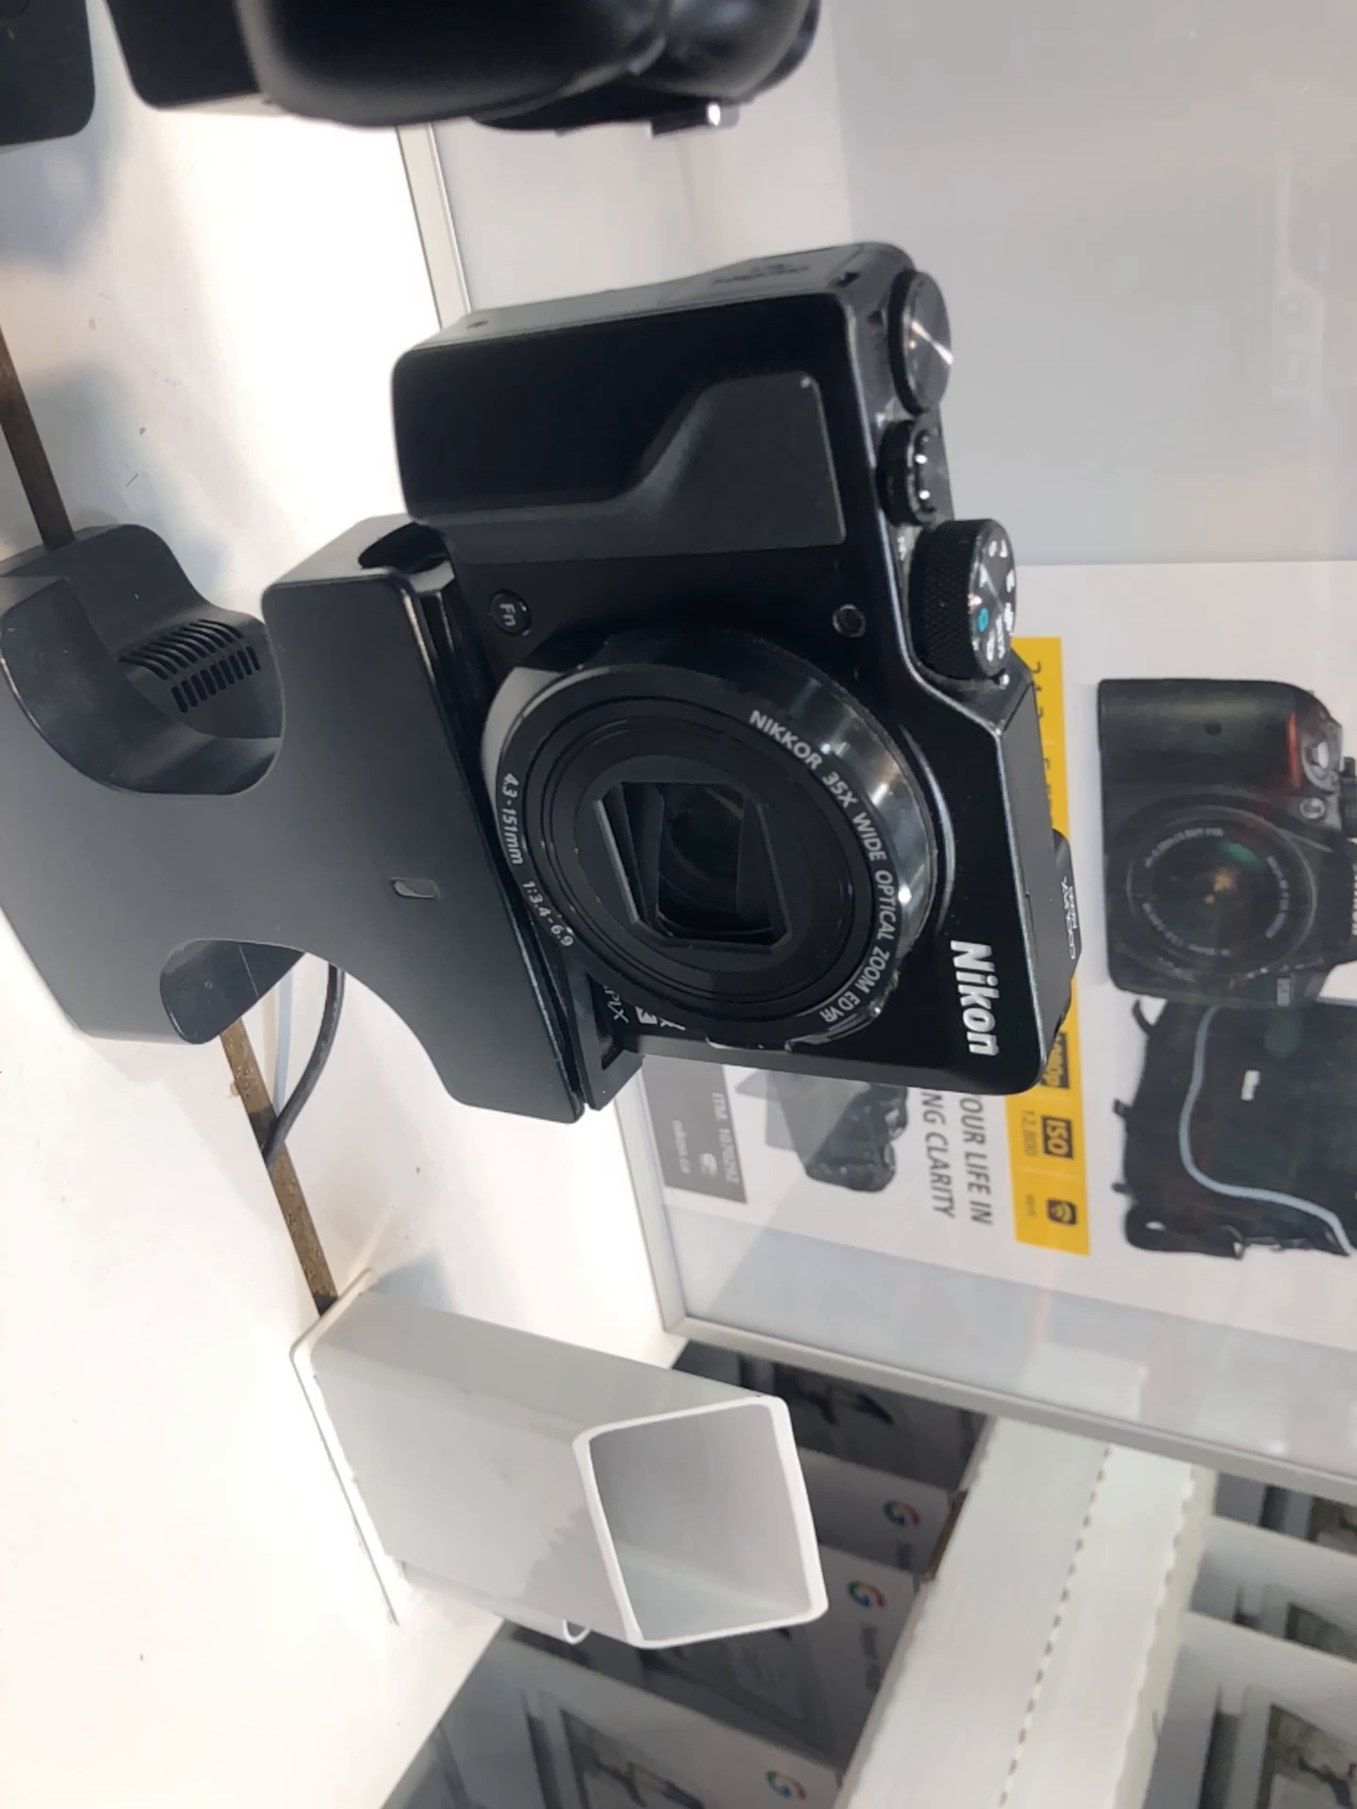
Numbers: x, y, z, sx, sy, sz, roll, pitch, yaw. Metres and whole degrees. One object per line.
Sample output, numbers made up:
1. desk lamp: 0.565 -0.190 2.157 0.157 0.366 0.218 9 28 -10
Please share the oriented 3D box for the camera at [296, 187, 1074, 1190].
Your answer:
1. camera: 0.010 -0.022 0.200 0.044 0.069 0.117 -62 147 -45
